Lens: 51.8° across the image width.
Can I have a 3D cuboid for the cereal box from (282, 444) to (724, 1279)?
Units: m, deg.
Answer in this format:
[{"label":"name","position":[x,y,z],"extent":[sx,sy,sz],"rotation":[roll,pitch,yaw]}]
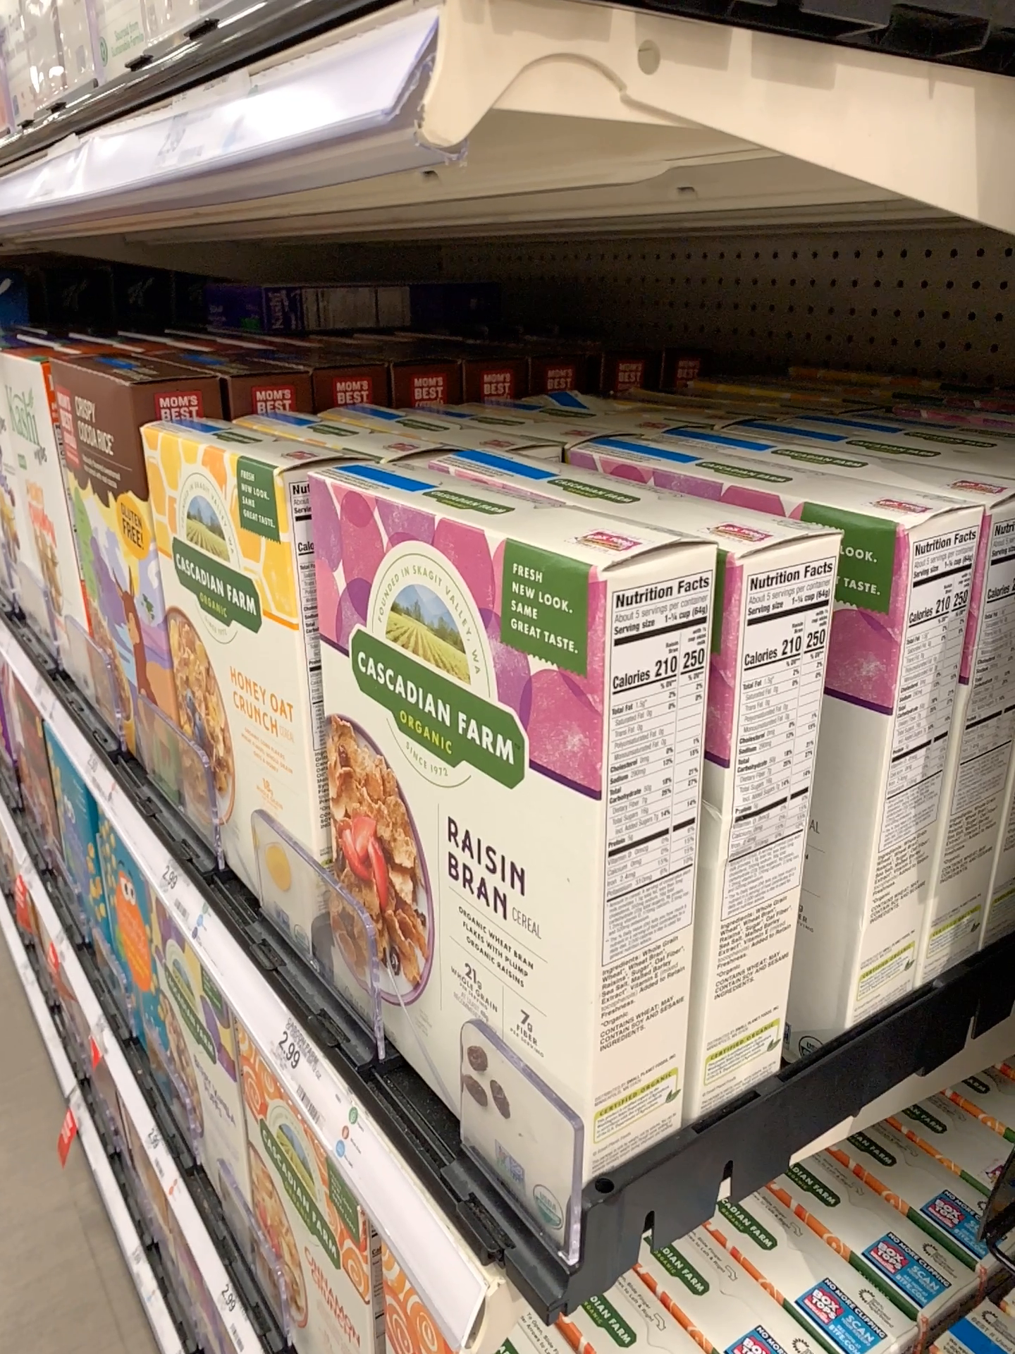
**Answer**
[{"label":"cereal box","position":[-0.012,0.058,0.419],"extent":[0.050,0.269,0.201],"rotation":[-16,26,-32]}]
